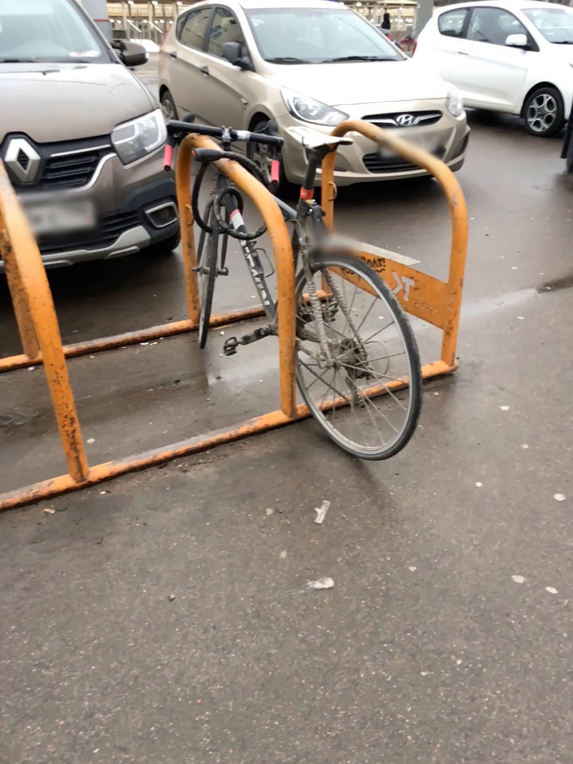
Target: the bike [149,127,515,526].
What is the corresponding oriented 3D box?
[{"bbox_3d":[0.015,-0.362,2.191,0.490,0.761,1.523,-14,34,-24],"label":"bike"}]
